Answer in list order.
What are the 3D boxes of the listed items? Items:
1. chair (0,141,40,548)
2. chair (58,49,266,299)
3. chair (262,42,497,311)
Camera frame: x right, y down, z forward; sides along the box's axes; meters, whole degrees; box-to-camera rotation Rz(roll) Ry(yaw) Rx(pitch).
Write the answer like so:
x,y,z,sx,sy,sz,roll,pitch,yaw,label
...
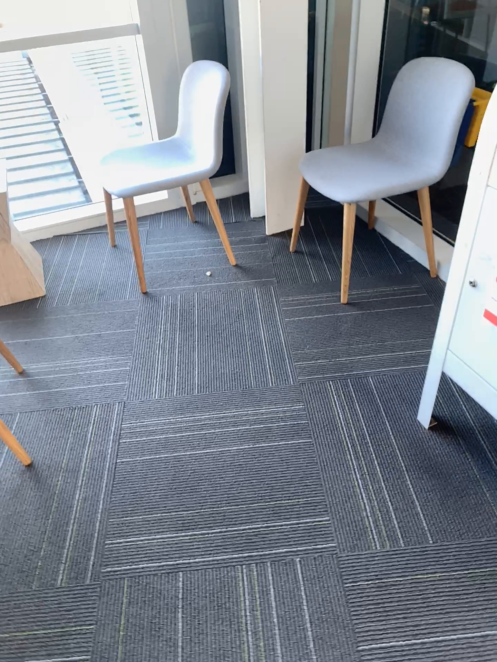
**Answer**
x,y,z,sx,sy,sz,roll,pitch,yaw,label
-1.001,0.016,1.376,0.560,0.765,0.604,-18,41,-16,chair
-0.351,-0.694,2.181,0.600,0.745,0.644,-19,42,-18,chair
0.481,-0.646,2.058,0.600,0.765,0.644,-19,42,-18,chair
